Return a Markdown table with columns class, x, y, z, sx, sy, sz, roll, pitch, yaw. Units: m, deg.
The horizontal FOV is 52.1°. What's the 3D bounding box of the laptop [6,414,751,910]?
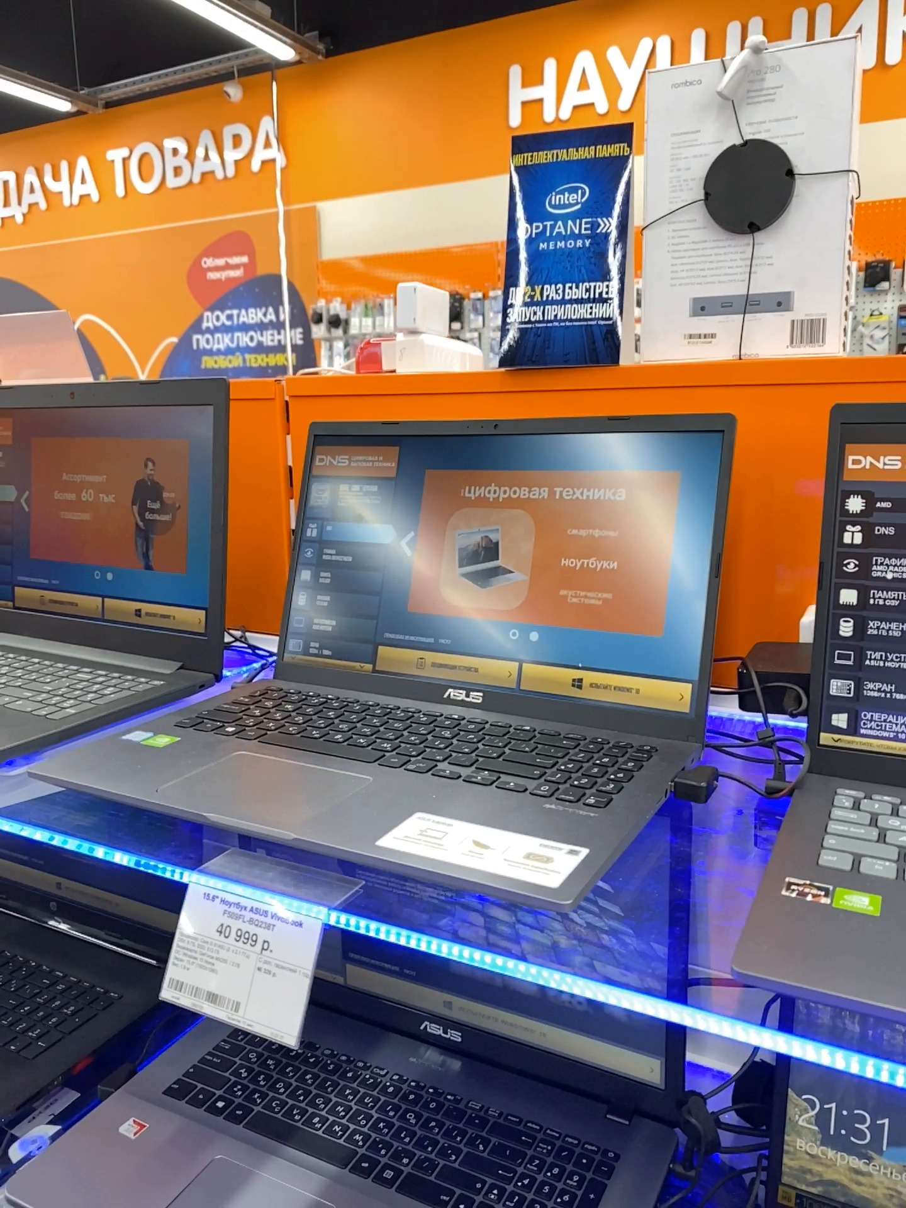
| class | x | y | z | sx | sy | sz | roll | pitch | yaw |
| --- | --- | --- | --- | --- | --- | --- | --- | --- | --- |
| laptop | -0.027 | -0.013 | 0.600 | 0.358 | 0.211 | 0.306 | 5 | 12 | 28 |
